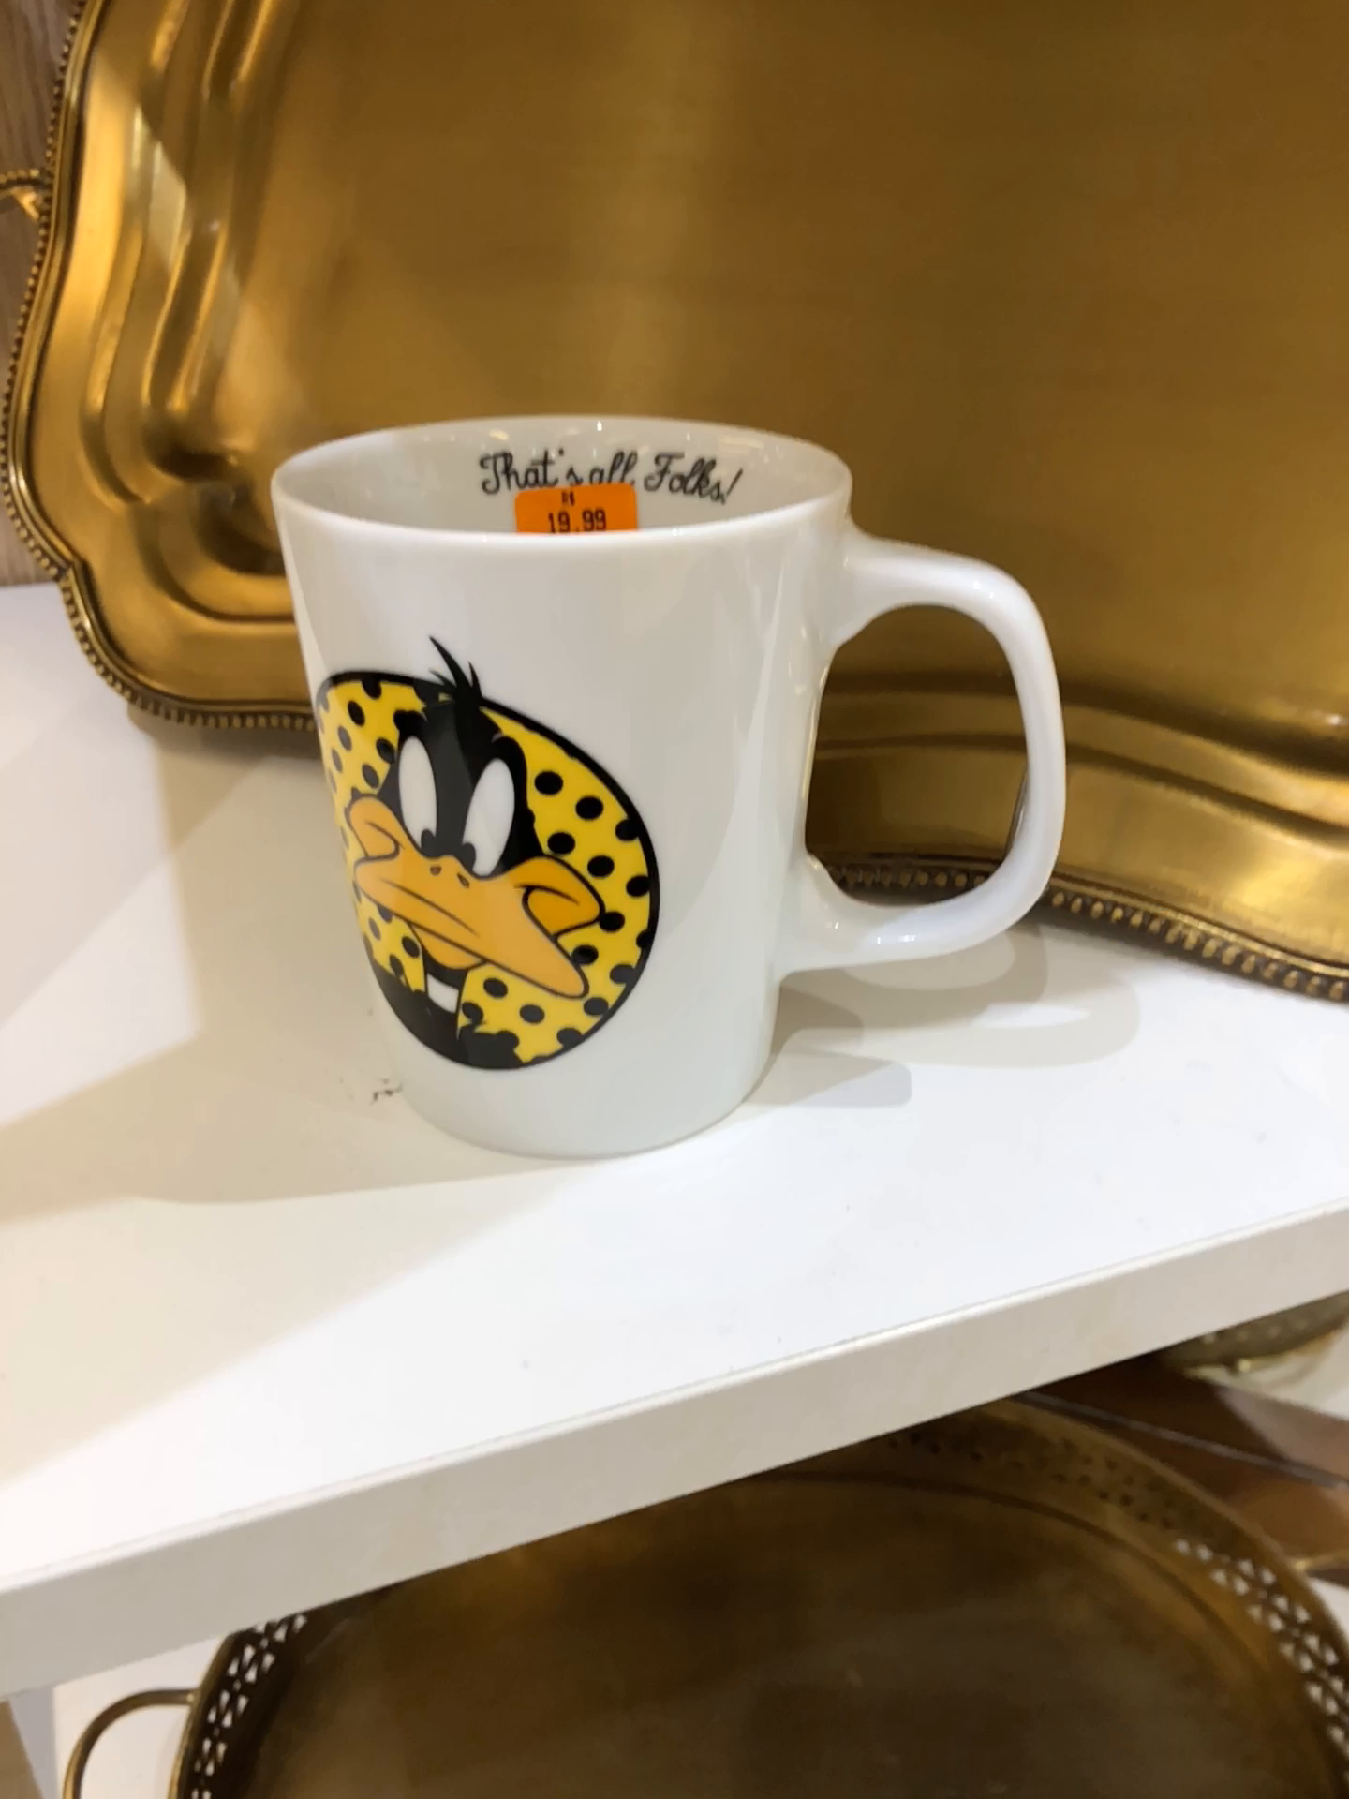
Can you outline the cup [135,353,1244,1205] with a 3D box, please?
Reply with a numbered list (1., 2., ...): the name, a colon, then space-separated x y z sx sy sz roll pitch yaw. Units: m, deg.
1. cup: 0.005 -0.025 0.223 0.120 0.089 0.091 4 28 6
